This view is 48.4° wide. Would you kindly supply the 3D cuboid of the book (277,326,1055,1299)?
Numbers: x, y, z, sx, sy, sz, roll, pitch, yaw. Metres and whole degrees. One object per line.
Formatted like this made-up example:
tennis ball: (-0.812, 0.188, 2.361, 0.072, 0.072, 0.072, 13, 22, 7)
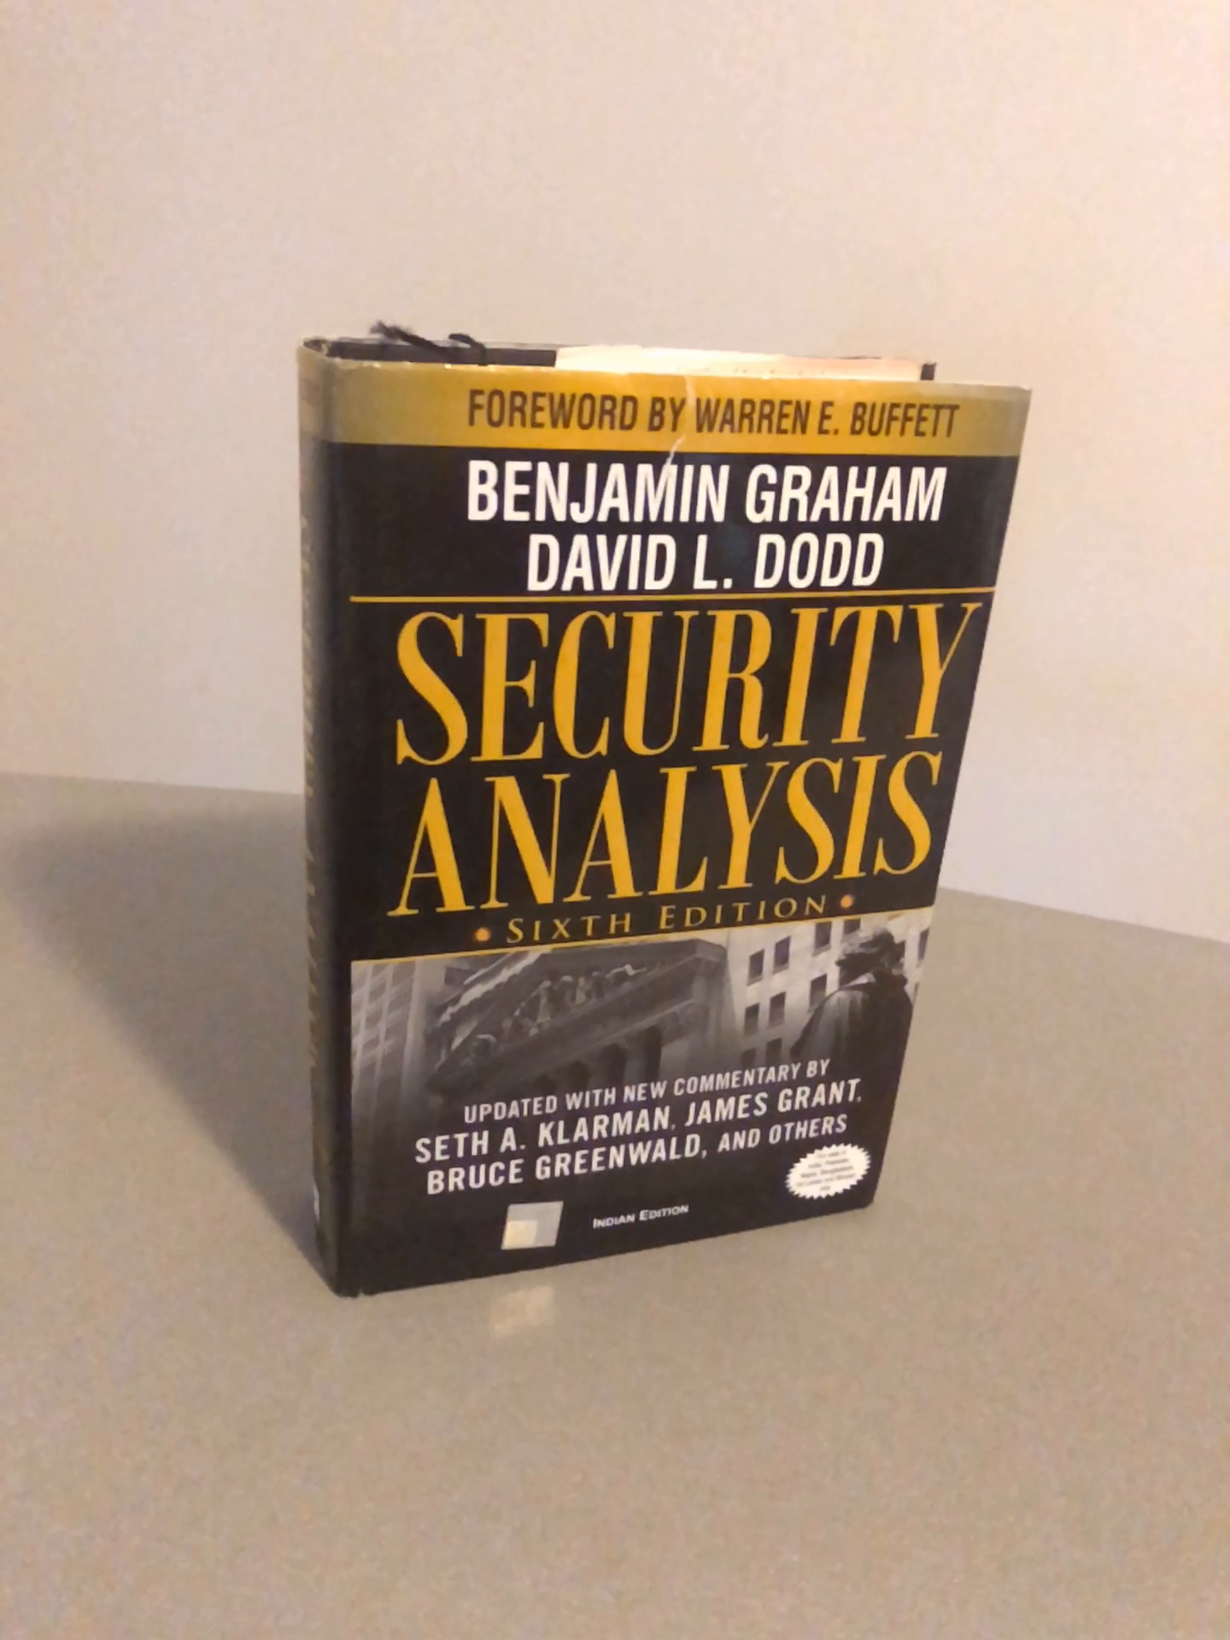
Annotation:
book: (0.005, 0.002, 0.347, 0.164, 0.231, 0.047, -4, 26, -17)
